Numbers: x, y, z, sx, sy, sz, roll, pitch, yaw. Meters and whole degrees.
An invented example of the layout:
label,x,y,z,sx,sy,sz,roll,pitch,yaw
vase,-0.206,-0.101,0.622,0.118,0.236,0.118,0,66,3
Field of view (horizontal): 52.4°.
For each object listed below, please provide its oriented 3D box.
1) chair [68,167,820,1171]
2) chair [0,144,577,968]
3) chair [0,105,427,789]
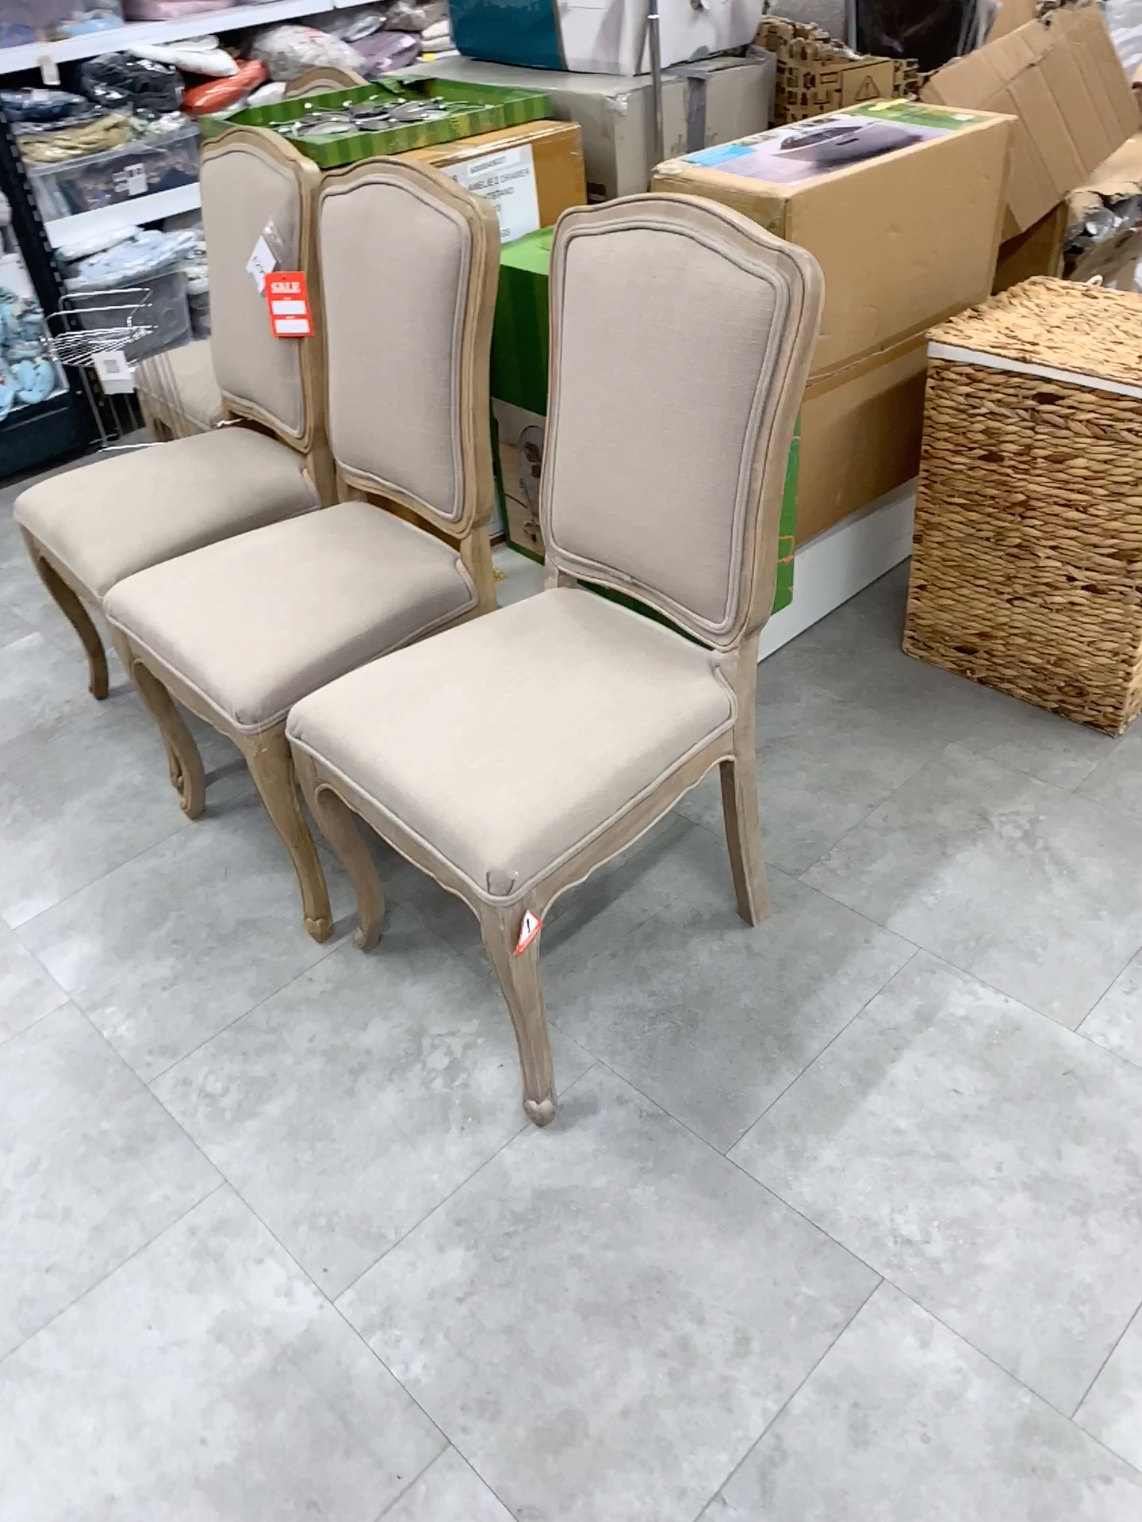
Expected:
label,x,y,z,sx,sy,sz,roll,pitch,yaw
chair,-0.079,-0.120,1.421,0.547,0.973,0.509,-33,43,-31
chair,-0.410,-0.310,1.730,0.547,0.973,0.509,-29,41,-28
chair,-0.707,-0.567,2.078,0.547,0.973,0.509,-29,41,-28
